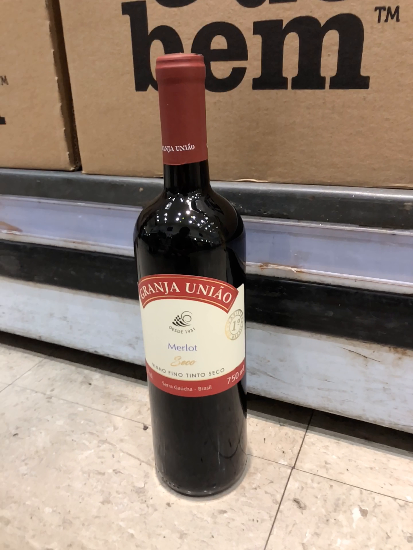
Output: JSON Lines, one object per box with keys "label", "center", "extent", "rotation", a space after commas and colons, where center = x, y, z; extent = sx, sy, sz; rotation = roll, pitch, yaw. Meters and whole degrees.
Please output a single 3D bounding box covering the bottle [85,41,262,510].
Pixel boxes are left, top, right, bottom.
{"label": "bottle", "center": [-0.007, 0.012, 0.314], "extent": [0.080, 0.298, 0.081], "rotation": [-2, 22, 1]}
